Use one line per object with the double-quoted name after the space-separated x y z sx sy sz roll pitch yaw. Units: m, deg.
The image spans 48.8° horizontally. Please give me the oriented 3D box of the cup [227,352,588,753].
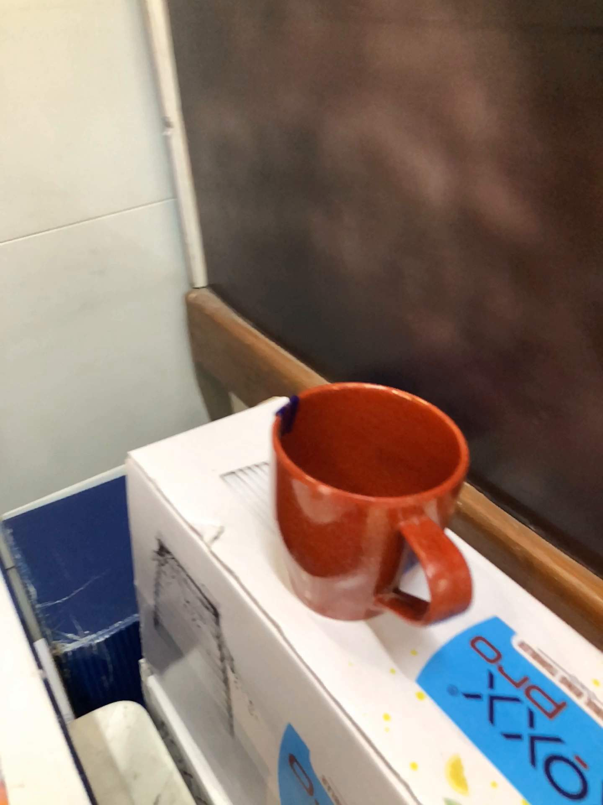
0.024 0.040 0.224 0.070 0.070 0.100 -8 33 -21 "cup"
